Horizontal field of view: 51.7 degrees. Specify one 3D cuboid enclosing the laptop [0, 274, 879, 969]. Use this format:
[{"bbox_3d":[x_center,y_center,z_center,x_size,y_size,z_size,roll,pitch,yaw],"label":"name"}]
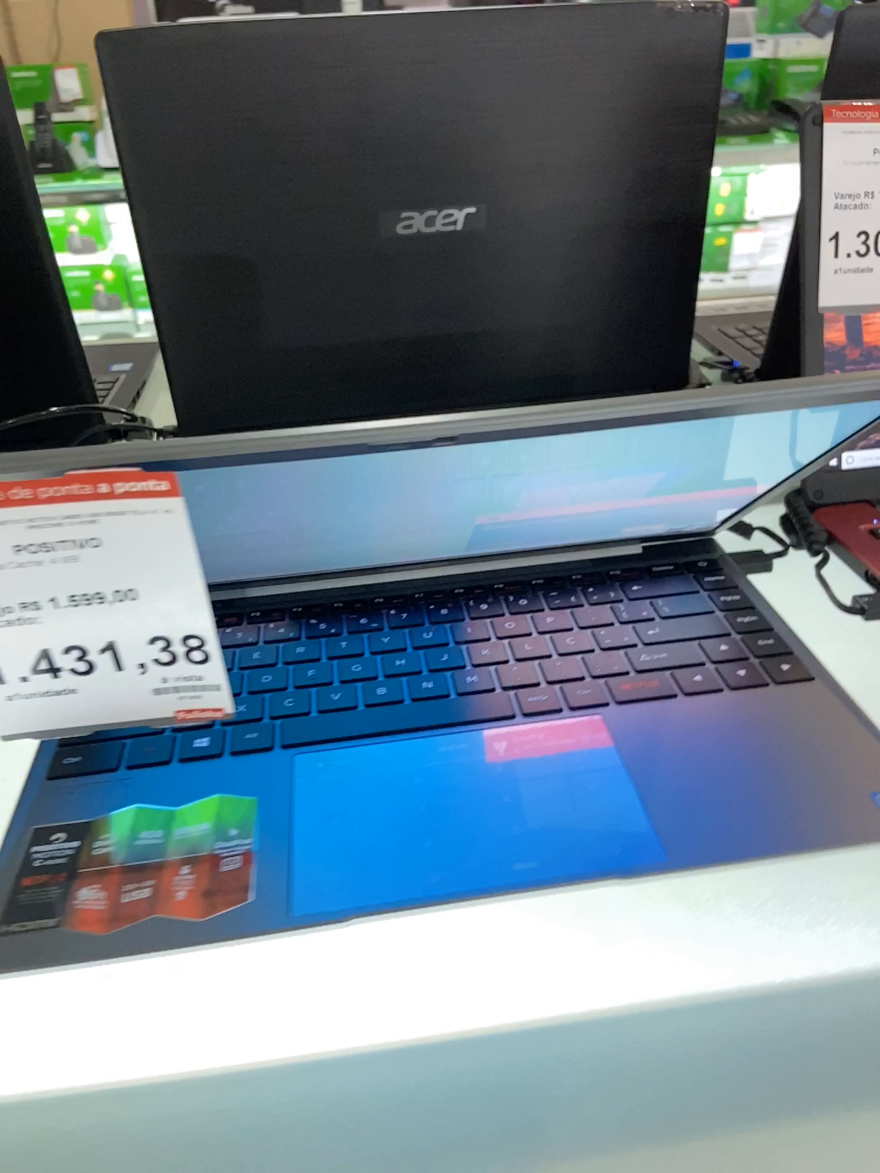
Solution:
[{"bbox_3d":[-0.003,-0.014,0.350,0.327,0.139,0.212,-6,31,-6],"label":"laptop"}]
